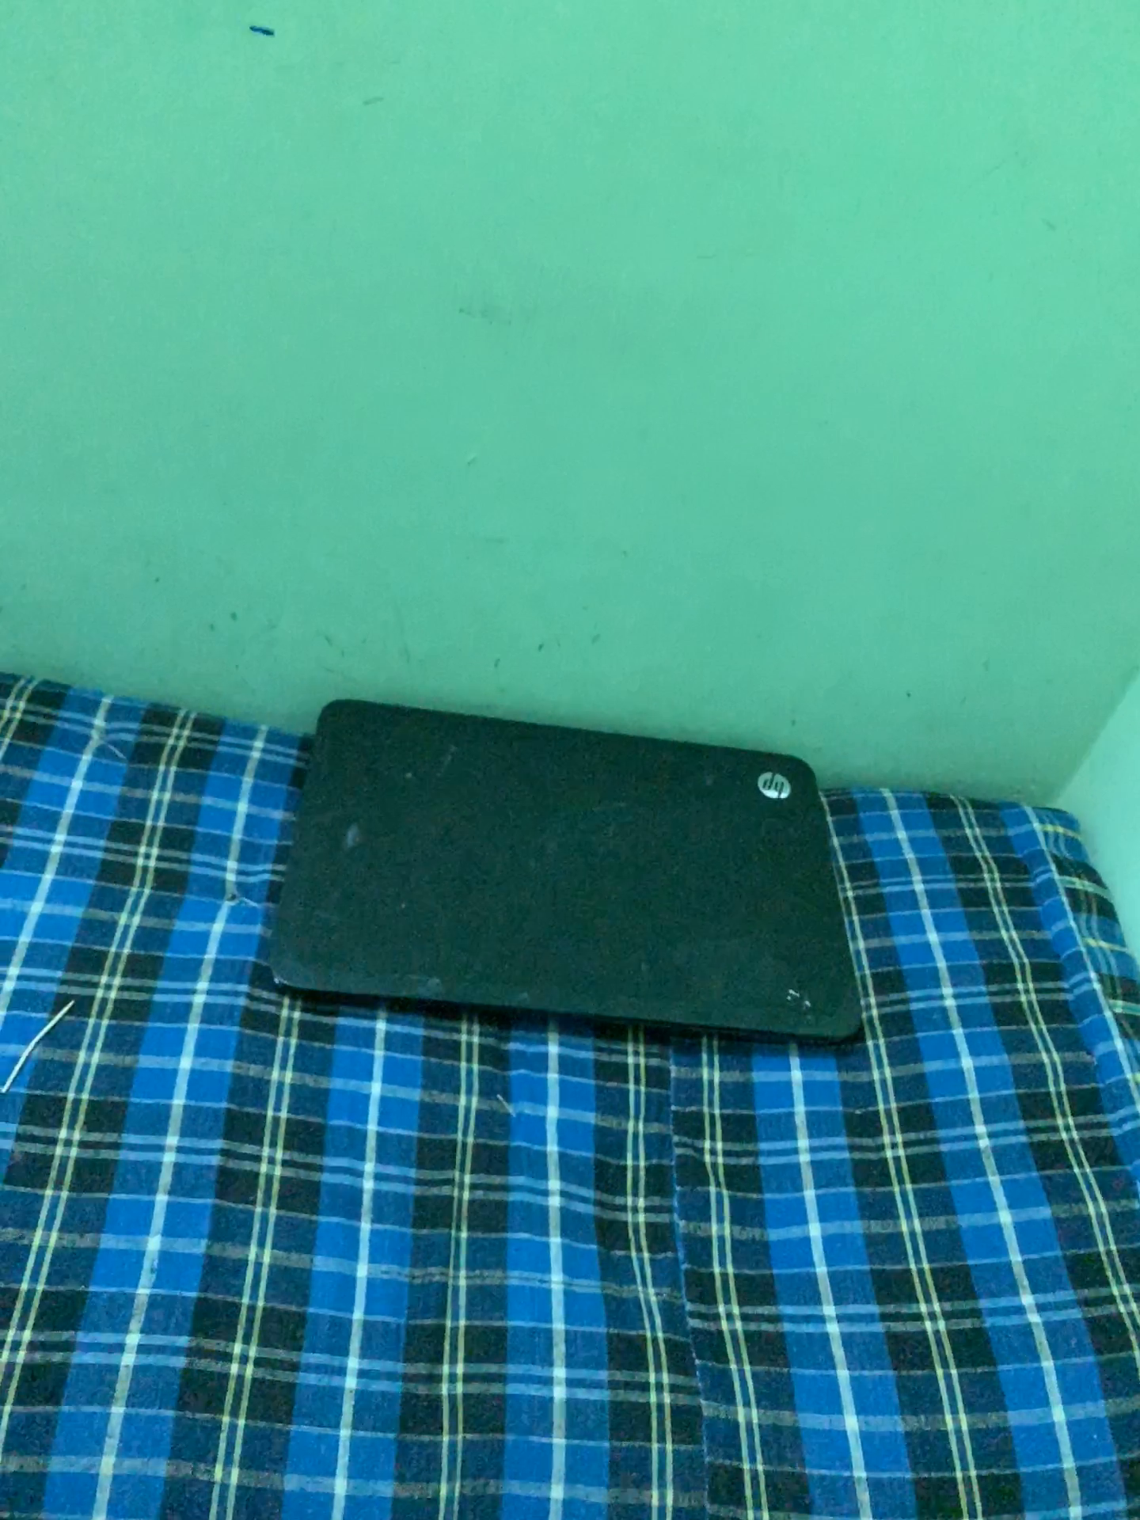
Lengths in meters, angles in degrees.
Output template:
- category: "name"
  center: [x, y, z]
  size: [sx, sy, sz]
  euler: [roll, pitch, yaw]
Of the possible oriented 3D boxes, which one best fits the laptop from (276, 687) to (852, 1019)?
- category: "laptop"
  center: [0.001, 0.055, 0.771]
  size: [0.346, 0.018, 0.217]
  euler: [7, 47, -8]
